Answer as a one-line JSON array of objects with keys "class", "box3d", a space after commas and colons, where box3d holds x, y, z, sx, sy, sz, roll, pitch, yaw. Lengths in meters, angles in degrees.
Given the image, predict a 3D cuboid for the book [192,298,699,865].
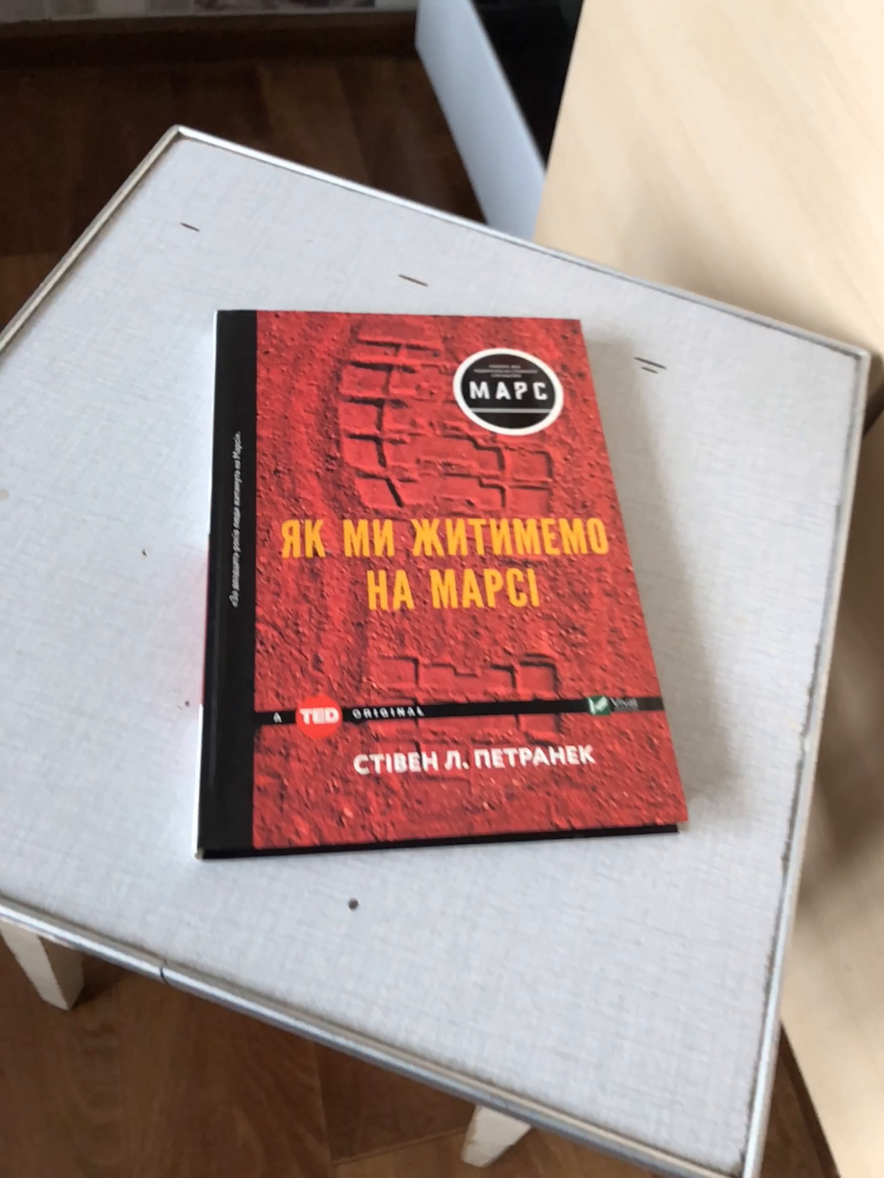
[{"class": "book", "box3d": [-0.005, -0.017, 0.339, 0.146, 0.015, 0.214, -1, 59, -7]}]
